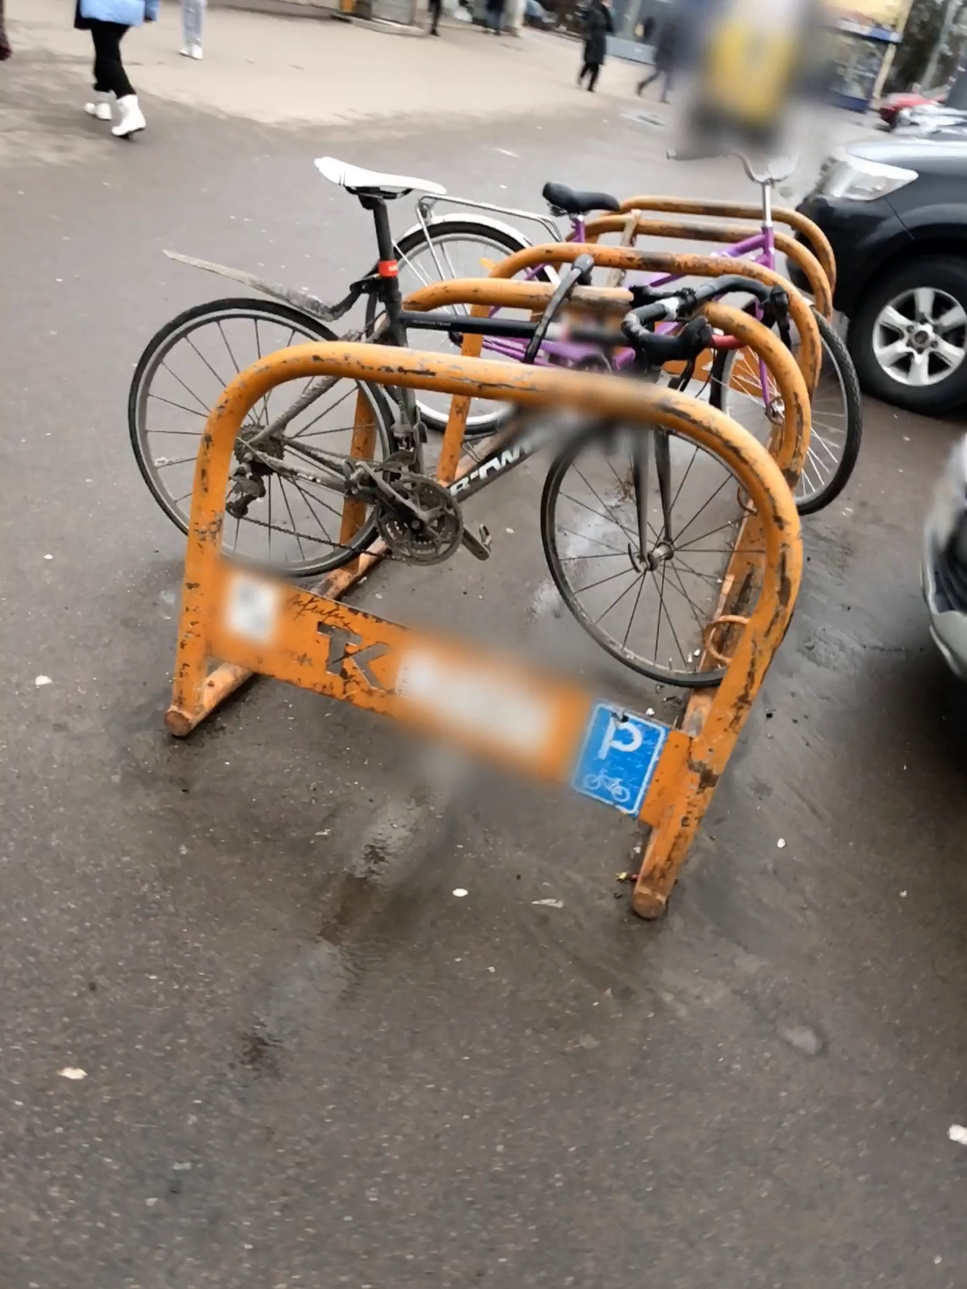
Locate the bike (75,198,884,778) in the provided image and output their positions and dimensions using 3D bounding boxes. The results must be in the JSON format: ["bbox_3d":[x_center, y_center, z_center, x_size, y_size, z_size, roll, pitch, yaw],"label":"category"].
[{"bbox_3d":[-0.077,-0.388,2.244,1.516,0.761,0.492,18,30,12],"label":"bike"}]
